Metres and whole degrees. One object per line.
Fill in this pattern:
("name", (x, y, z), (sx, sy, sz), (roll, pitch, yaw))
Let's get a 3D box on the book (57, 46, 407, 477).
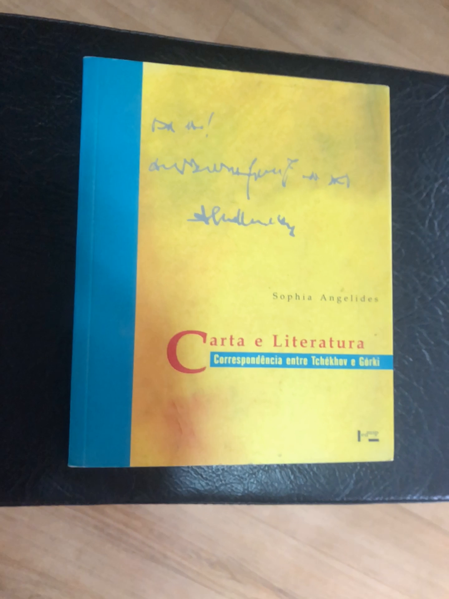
("book", (0.009, -0.018, 0.264), (0.173, 0.024, 0.208), (2, 86, -8))
